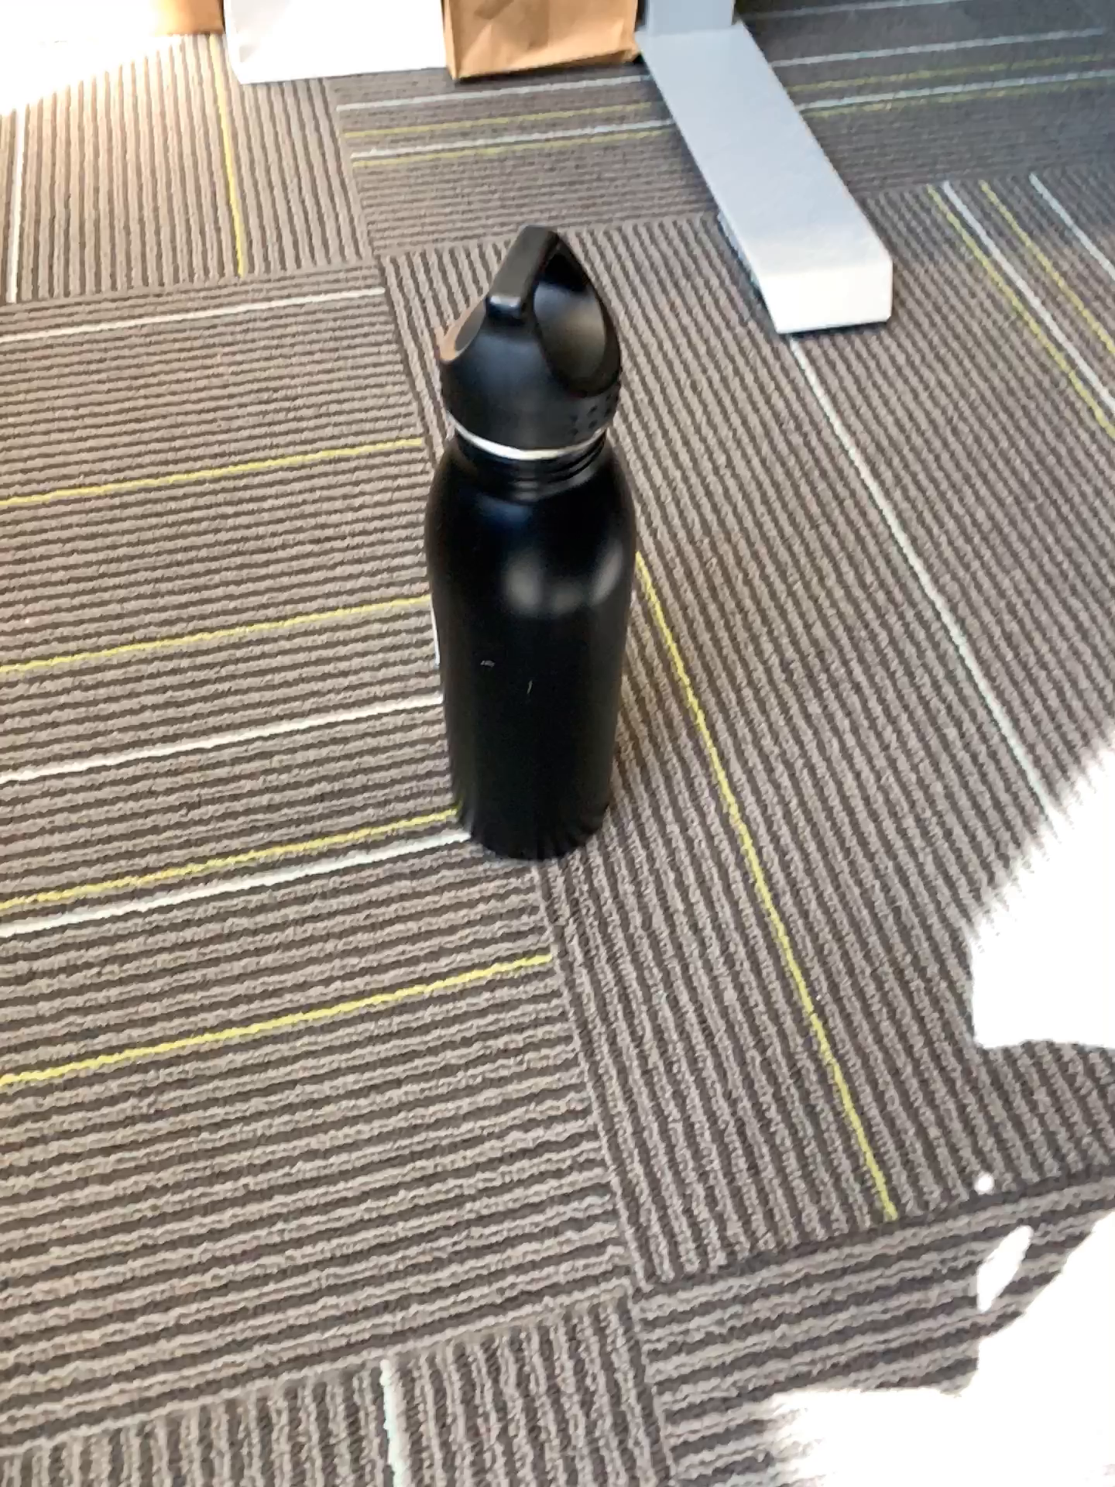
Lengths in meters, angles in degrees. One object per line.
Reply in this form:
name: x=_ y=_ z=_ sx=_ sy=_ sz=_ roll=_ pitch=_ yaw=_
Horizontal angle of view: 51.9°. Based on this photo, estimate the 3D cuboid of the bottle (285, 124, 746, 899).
bottle: x=-0.010 y=-0.056 z=0.394 sx=0.080 sy=0.249 sz=0.090 roll=28 pitch=60 yaw=17
